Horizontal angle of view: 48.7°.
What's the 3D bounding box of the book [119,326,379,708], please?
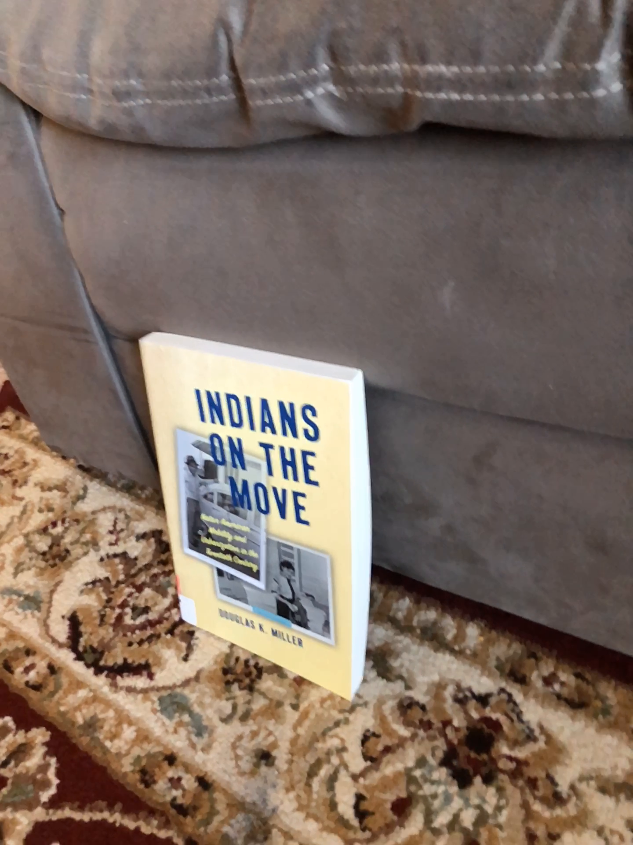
[{"bbox_3d":[-0.040,0.061,0.456,0.160,0.229,0.030,13,31,32],"label":"book"}]
